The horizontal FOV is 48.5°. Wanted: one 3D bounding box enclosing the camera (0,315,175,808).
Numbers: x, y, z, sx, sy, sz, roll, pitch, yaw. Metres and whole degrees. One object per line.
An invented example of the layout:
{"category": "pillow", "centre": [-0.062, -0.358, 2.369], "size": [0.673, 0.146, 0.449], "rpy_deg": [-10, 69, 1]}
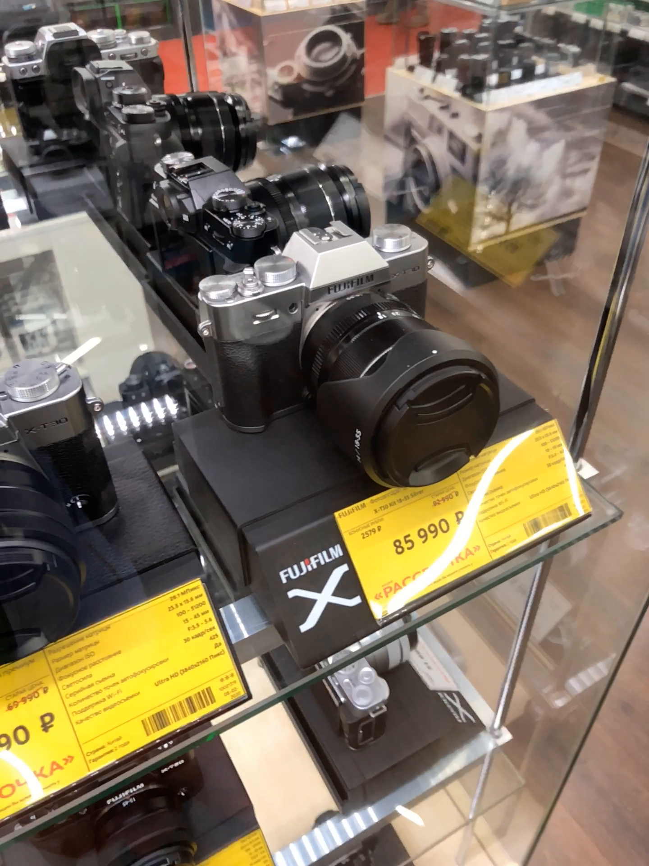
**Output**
{"category": "camera", "centre": [-0.144, 0.037, 0.265], "size": [0.135, 0.088, 0.104], "rpy_deg": [-21, 45, -21]}

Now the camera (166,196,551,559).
{"category": "camera", "centre": [0.011, -0.034, 0.339], "size": [0.121, 0.088, 0.121], "rpy_deg": [-21, 45, -21]}

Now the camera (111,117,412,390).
{"category": "camera", "centre": [-0.041, -0.119, 0.448], "size": [0.123, 0.088, 0.145], "rpy_deg": [-22, 45, -22]}
